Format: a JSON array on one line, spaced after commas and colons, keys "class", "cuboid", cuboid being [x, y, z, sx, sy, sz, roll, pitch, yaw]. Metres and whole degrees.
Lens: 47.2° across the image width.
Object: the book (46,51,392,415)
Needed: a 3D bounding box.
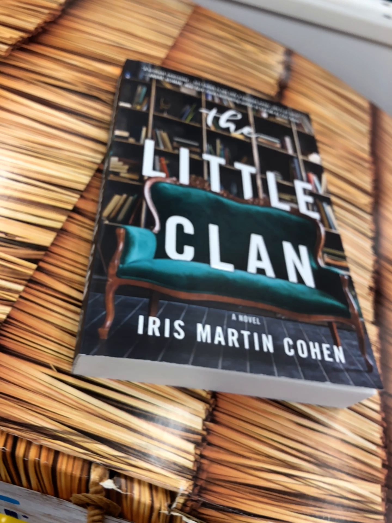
[{"class": "book", "cuboid": [0.011, -0.028, 0.231, 0.130, 0.030, 0.190, 11, 50, -14]}]
